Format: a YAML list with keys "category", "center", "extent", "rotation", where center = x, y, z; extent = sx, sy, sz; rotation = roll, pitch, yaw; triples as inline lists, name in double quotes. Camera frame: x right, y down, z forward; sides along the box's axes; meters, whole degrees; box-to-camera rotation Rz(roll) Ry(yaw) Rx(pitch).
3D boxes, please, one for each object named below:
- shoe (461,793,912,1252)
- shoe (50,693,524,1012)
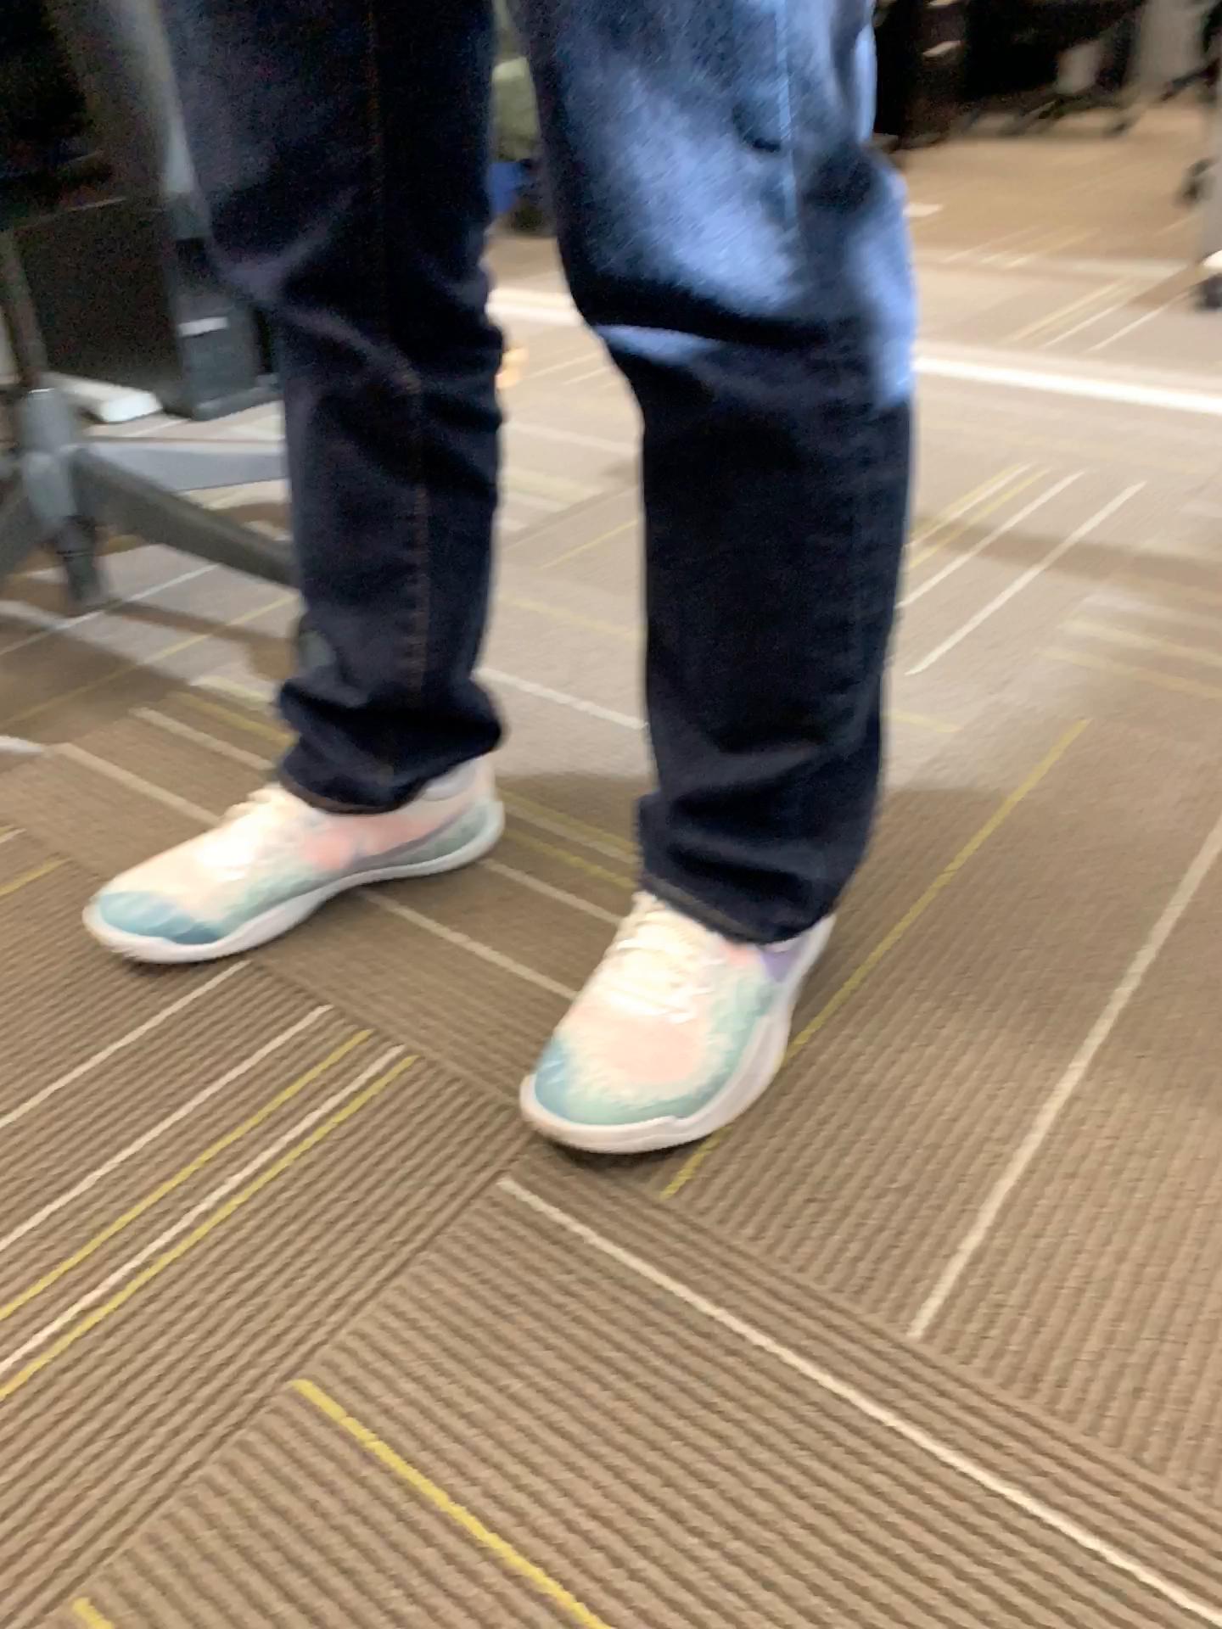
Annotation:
- category: "shoe"
  center: [0.057, 0.103, 0.740]
  extent: [0.123, 0.078, 0.290]
  rotation: [19, 39, 30]
- category: "shoe"
  center: [-0.215, 0.016, 0.862]
  extent: [0.283, 0.088, 0.118]
  rotation: [-20, 37, -25]
